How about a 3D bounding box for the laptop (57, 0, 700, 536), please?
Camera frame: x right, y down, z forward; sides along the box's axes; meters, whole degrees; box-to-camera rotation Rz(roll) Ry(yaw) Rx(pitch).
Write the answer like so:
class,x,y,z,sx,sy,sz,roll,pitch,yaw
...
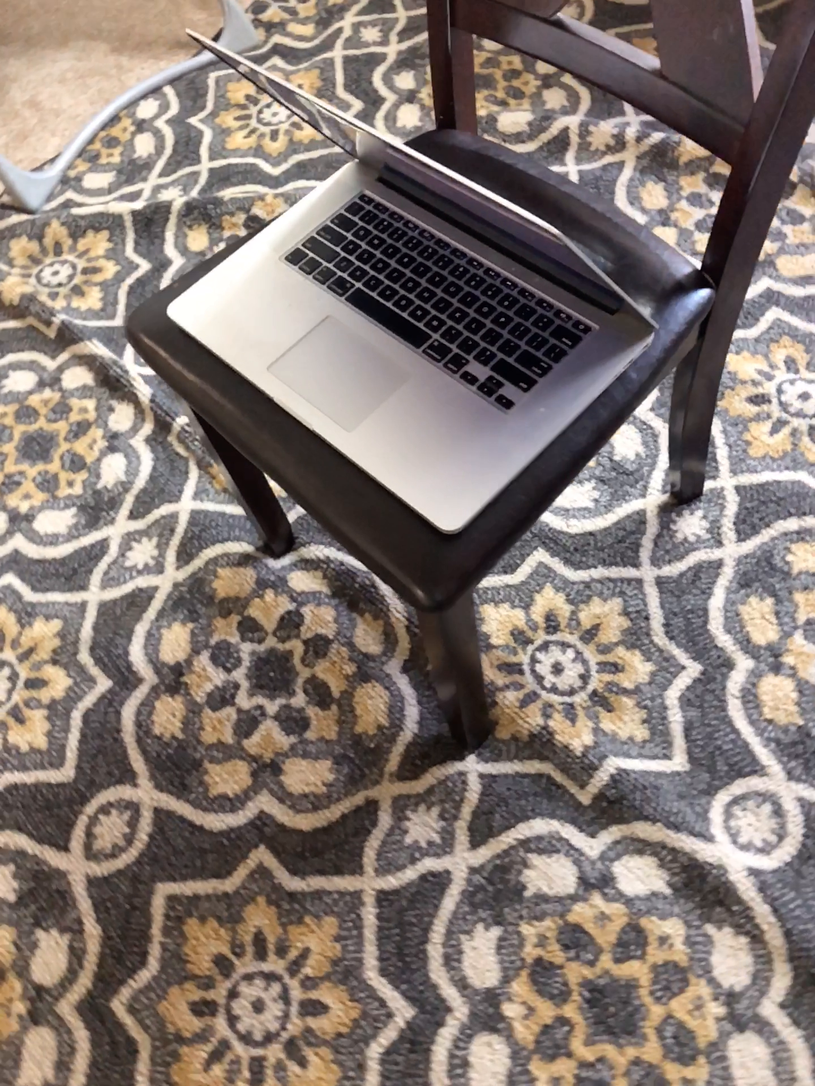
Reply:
class,x,y,z,sx,sy,sz,roll,pitch,yaw
laptop,-0.022,-0.229,0.666,0.352,0.200,0.237,38,73,24
